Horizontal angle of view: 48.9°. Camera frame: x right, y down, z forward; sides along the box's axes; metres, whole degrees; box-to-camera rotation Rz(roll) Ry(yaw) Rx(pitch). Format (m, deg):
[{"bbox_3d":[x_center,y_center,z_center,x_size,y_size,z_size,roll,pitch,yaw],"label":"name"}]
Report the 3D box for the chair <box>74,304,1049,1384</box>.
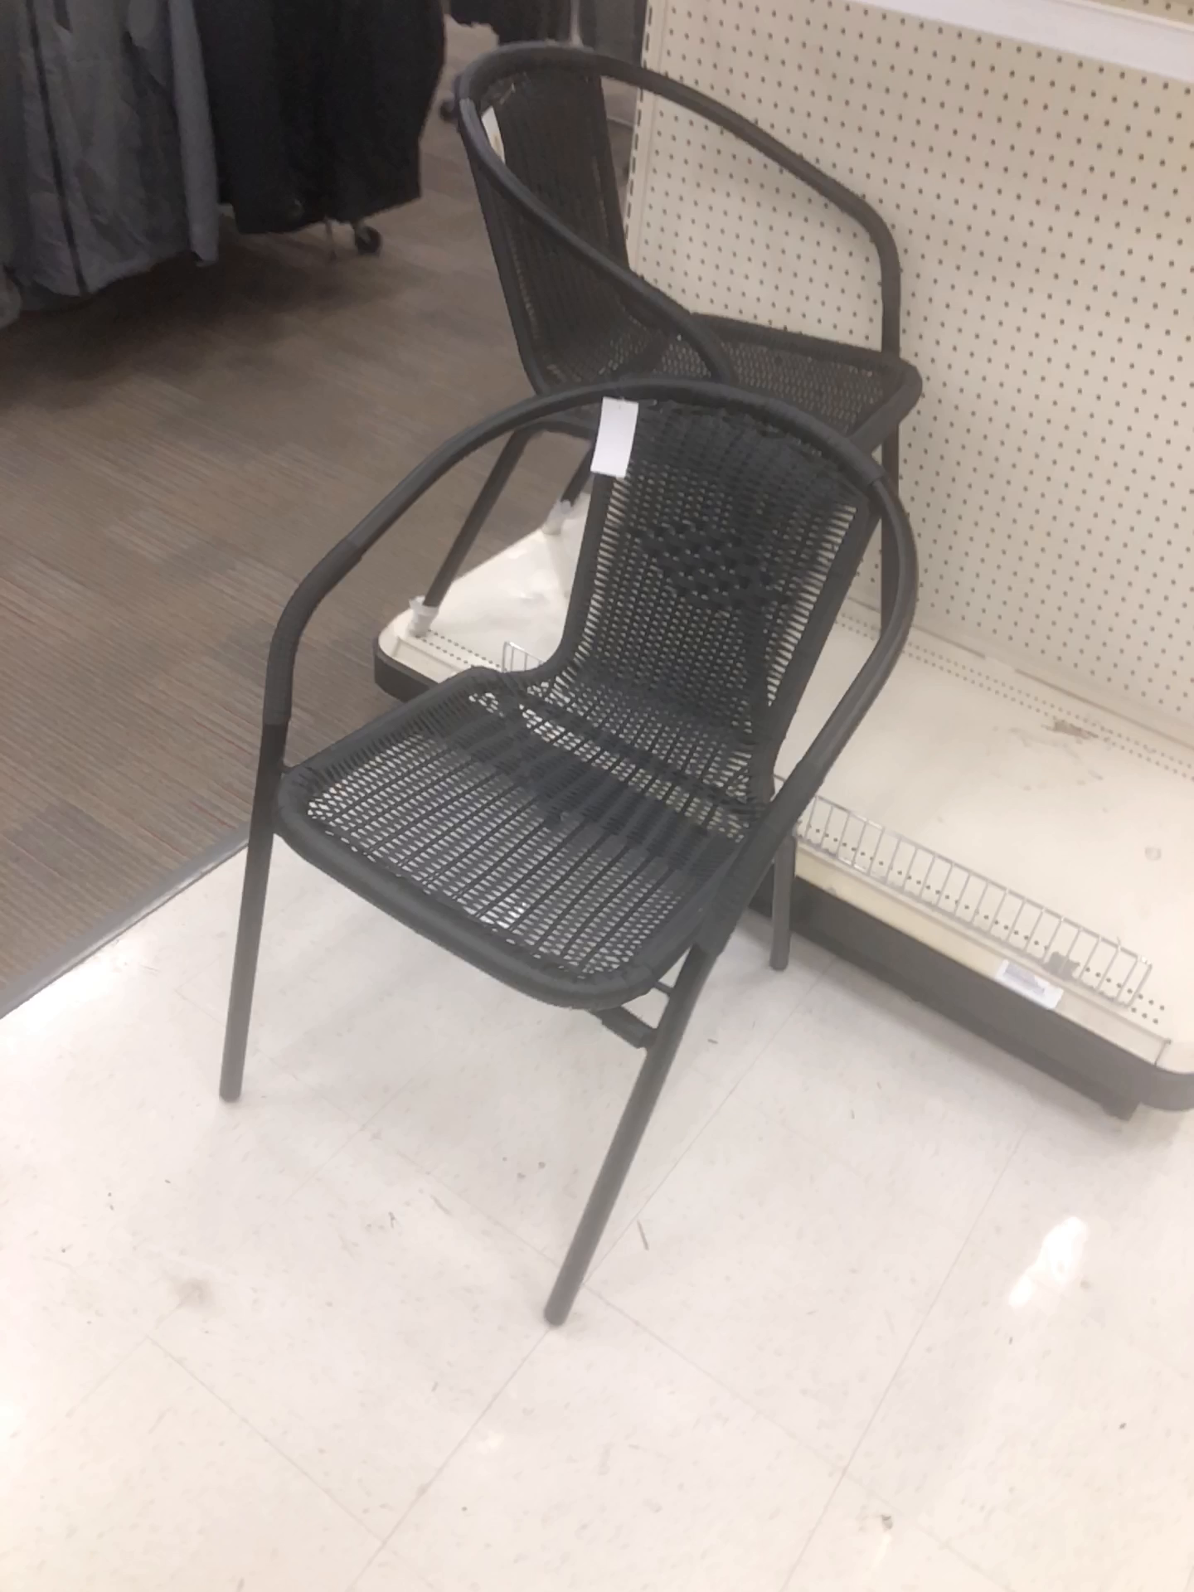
[{"bbox_3d":[-0.029,0.009,1.310,0.530,0.696,0.643,30,44,23],"label":"chair"}]
